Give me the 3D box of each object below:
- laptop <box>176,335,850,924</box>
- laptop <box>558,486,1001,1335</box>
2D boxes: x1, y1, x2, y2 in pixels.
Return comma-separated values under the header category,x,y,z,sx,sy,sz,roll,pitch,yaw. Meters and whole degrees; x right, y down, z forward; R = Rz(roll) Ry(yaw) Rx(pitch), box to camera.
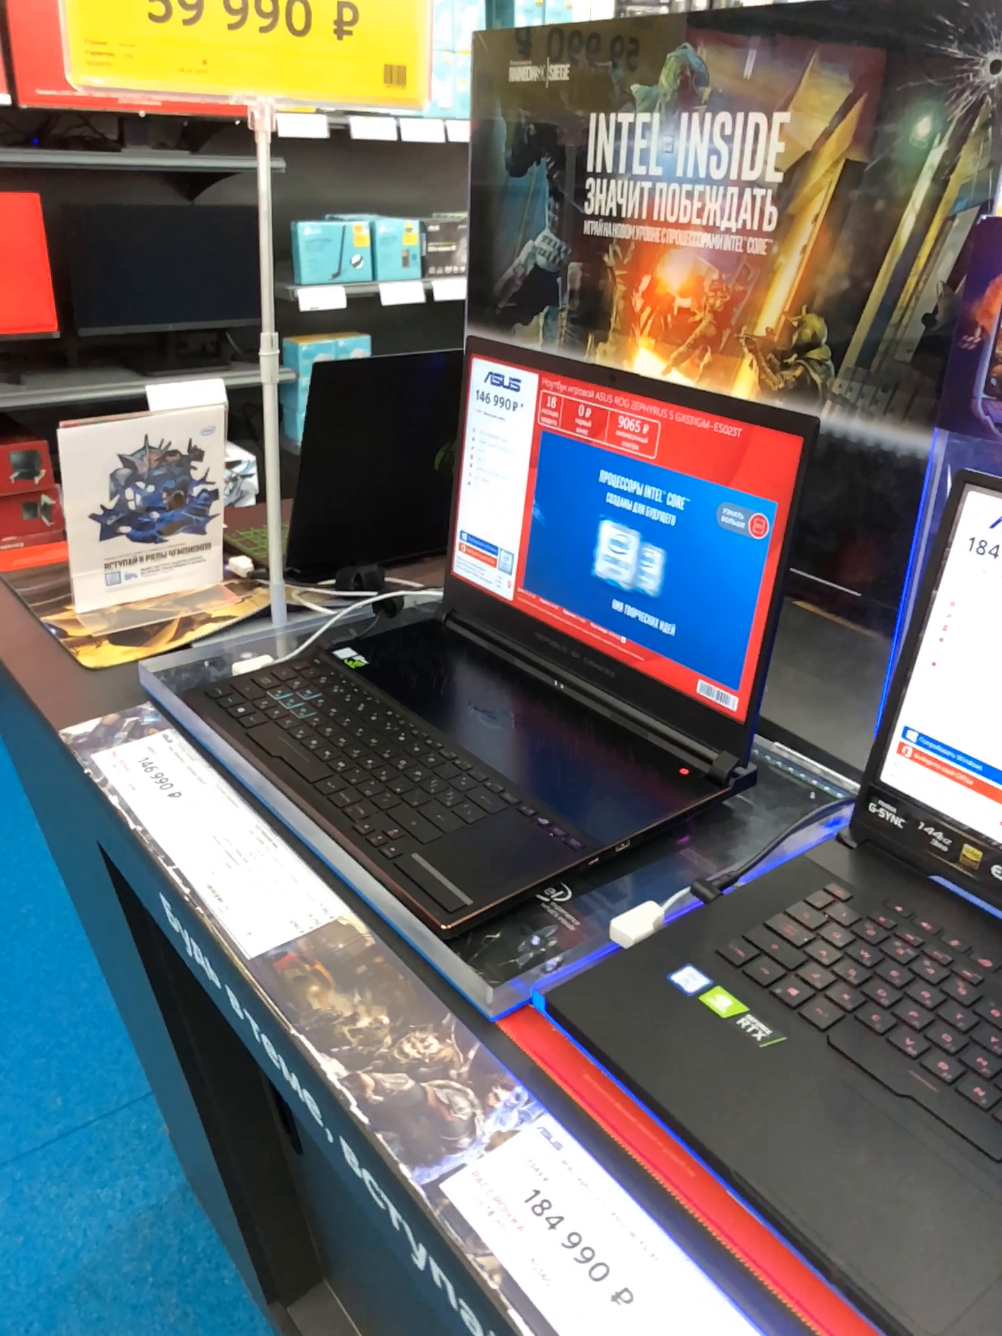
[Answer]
category,x,y,z,sx,sy,sz,roll,pitch,yaw
laptop,-0.012,-0.066,0.758,0.278,0.241,0.350,-17,31,-33
laptop,0.260,0.092,0.468,0.302,0.219,0.342,-16,30,-30
